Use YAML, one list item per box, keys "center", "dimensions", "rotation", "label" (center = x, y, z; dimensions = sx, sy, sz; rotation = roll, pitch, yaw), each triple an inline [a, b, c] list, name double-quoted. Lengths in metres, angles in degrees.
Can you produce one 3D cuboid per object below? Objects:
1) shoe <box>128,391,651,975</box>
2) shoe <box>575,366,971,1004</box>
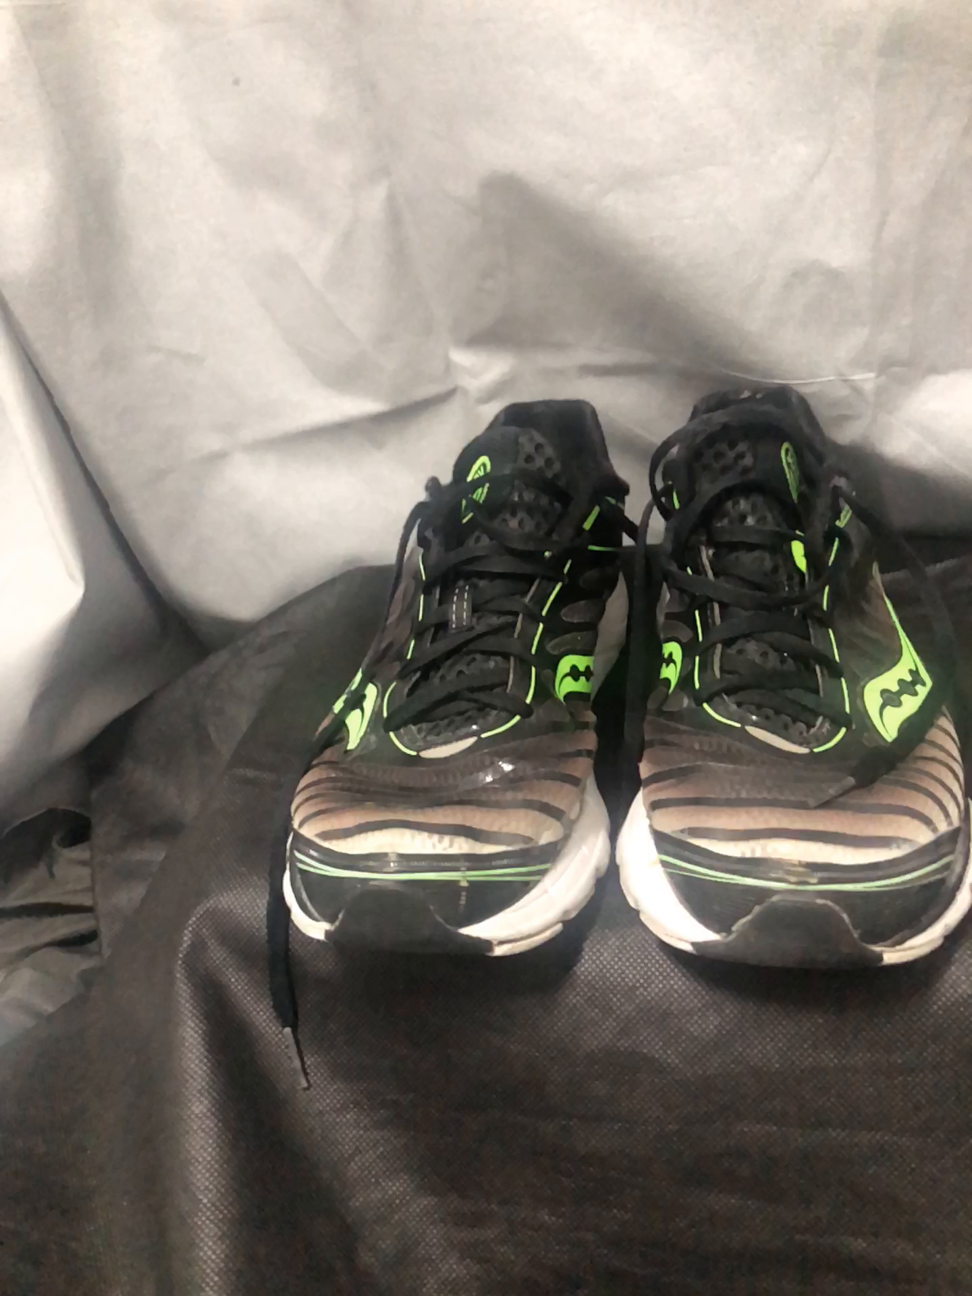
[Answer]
- center: [-0.009, -0.007, 0.384]
  dimensions: [0.117, 0.096, 0.225]
  rotation: [0, 30, 13]
  label: "shoe"
- center: [0.104, -0.009, 0.354]
  dimensions: [0.114, 0.097, 0.225]
  rotation: [0, 30, 13]
  label: "shoe"
